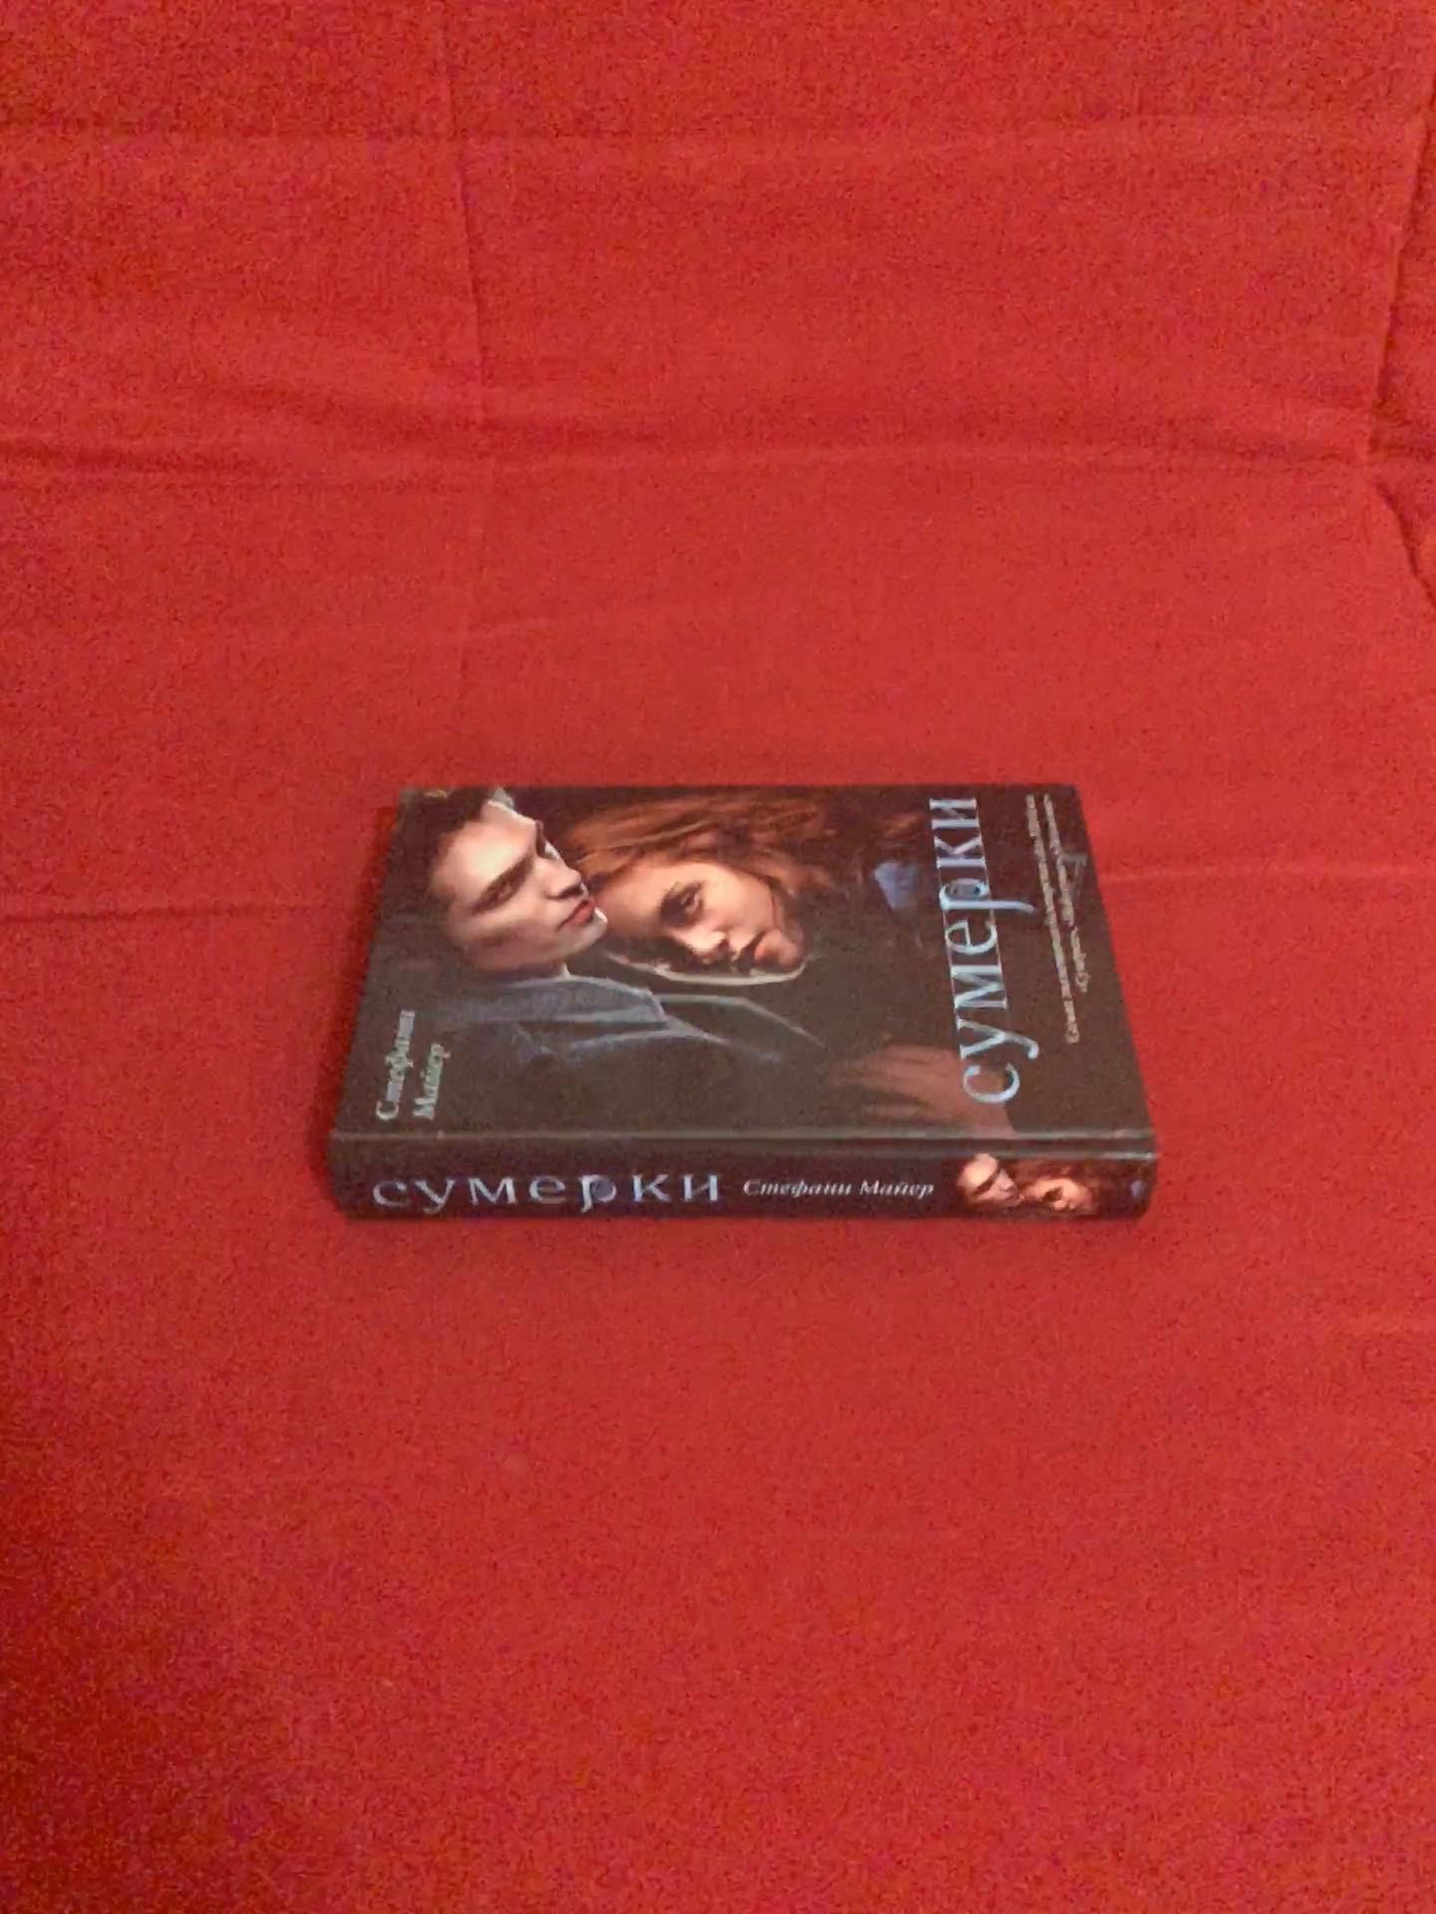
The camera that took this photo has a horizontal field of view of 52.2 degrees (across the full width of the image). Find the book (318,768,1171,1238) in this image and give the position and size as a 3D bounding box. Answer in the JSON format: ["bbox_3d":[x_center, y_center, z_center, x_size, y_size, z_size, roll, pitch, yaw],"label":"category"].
[{"bbox_3d":[0.007,0.009,0.413,0.209,0.036,0.134,0,54,1],"label":"book"}]
